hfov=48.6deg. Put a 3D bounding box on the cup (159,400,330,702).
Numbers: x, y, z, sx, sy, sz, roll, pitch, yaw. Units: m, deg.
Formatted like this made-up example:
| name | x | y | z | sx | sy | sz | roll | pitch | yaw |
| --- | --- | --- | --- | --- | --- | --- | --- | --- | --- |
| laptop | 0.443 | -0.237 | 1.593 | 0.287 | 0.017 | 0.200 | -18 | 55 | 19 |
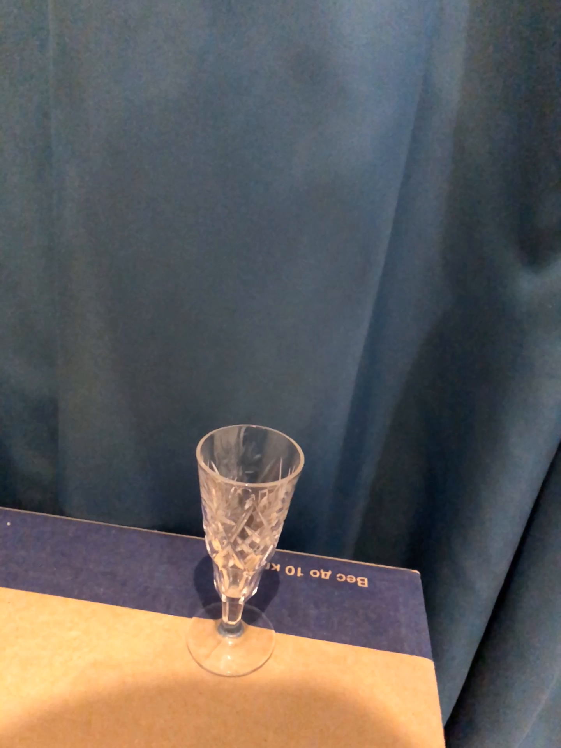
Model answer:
| name | x | y | z | sx | sy | sz | roll | pitch | yaw |
| --- | --- | --- | --- | --- | --- | --- | --- | --- | --- |
| cup | -0.019 | 0.082 | 0.291 | 0.053 | 0.118 | 0.051 | 5 | 28 | -2 |
